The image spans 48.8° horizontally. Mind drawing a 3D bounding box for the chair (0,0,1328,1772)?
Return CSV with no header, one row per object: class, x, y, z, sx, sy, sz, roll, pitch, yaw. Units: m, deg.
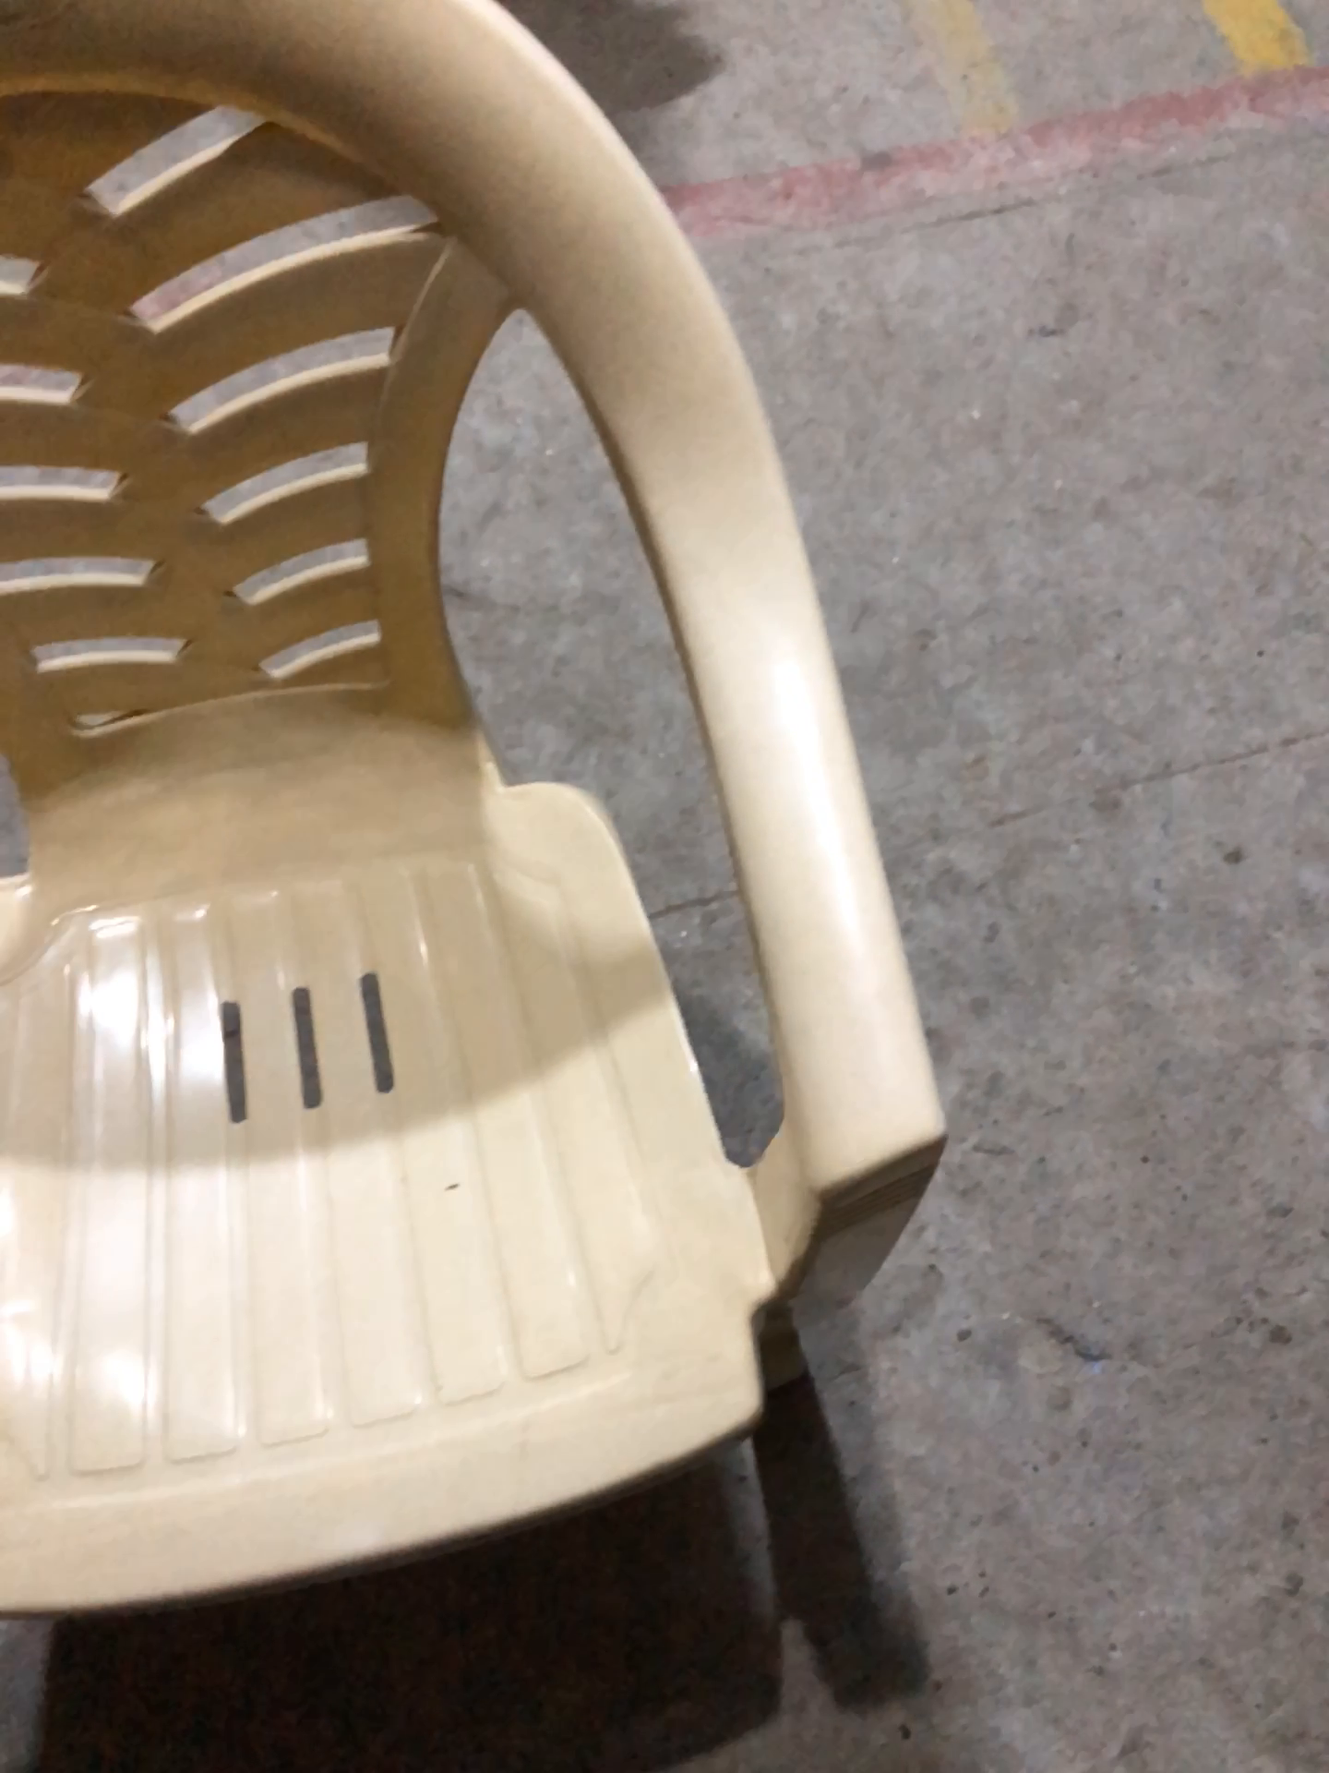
chair,-0.196,0.061,0.700,0.560,0.868,0.561,-8,72,-5
